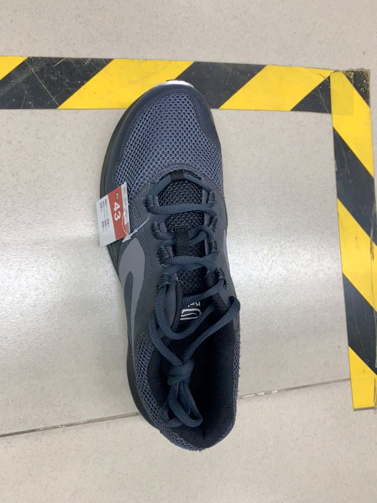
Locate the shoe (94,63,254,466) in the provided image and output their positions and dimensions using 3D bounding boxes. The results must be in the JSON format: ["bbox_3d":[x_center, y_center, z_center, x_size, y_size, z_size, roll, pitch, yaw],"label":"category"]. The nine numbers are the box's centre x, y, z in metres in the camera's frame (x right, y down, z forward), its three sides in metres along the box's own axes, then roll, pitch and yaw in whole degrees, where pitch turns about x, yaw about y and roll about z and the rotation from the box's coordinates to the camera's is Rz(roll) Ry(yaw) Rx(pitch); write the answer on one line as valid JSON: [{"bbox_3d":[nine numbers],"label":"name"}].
[{"bbox_3d":[-0.016,0.007,0.317,0.110,0.070,0.280,-1,88,-13],"label":"shoe"}]
